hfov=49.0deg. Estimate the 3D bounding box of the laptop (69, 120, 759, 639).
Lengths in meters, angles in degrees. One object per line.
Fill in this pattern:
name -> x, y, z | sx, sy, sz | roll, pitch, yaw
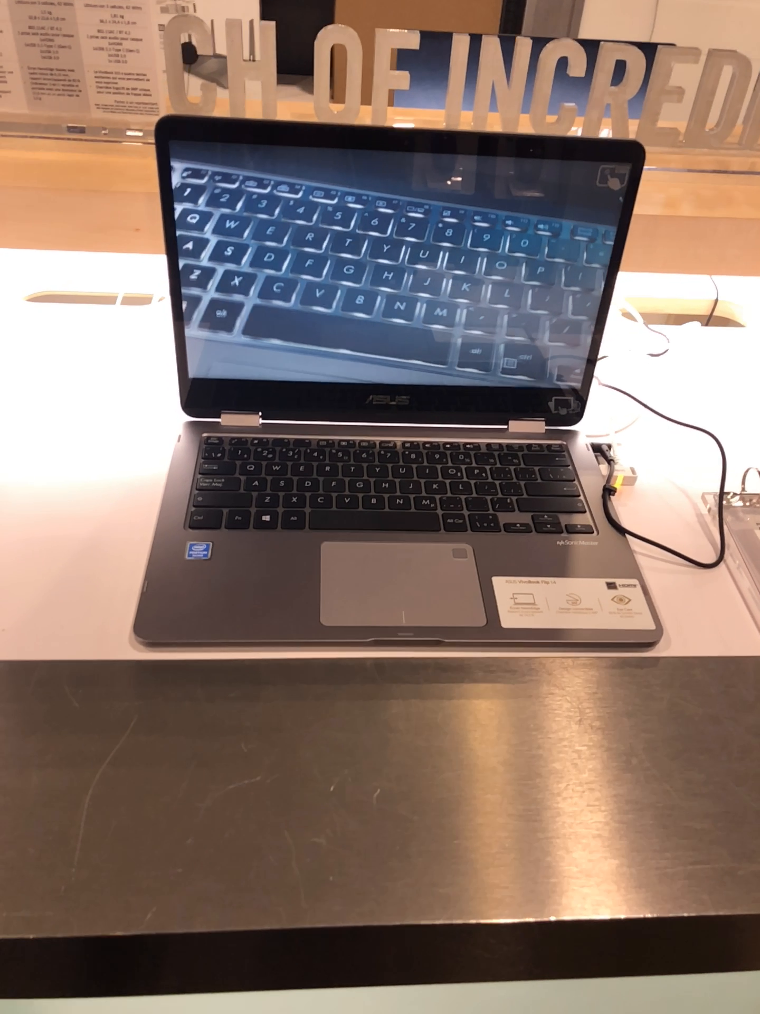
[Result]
laptop -> 0.016, -0.074, 0.489 | 0.303, 0.210, 0.211 | 1, 41, -4
